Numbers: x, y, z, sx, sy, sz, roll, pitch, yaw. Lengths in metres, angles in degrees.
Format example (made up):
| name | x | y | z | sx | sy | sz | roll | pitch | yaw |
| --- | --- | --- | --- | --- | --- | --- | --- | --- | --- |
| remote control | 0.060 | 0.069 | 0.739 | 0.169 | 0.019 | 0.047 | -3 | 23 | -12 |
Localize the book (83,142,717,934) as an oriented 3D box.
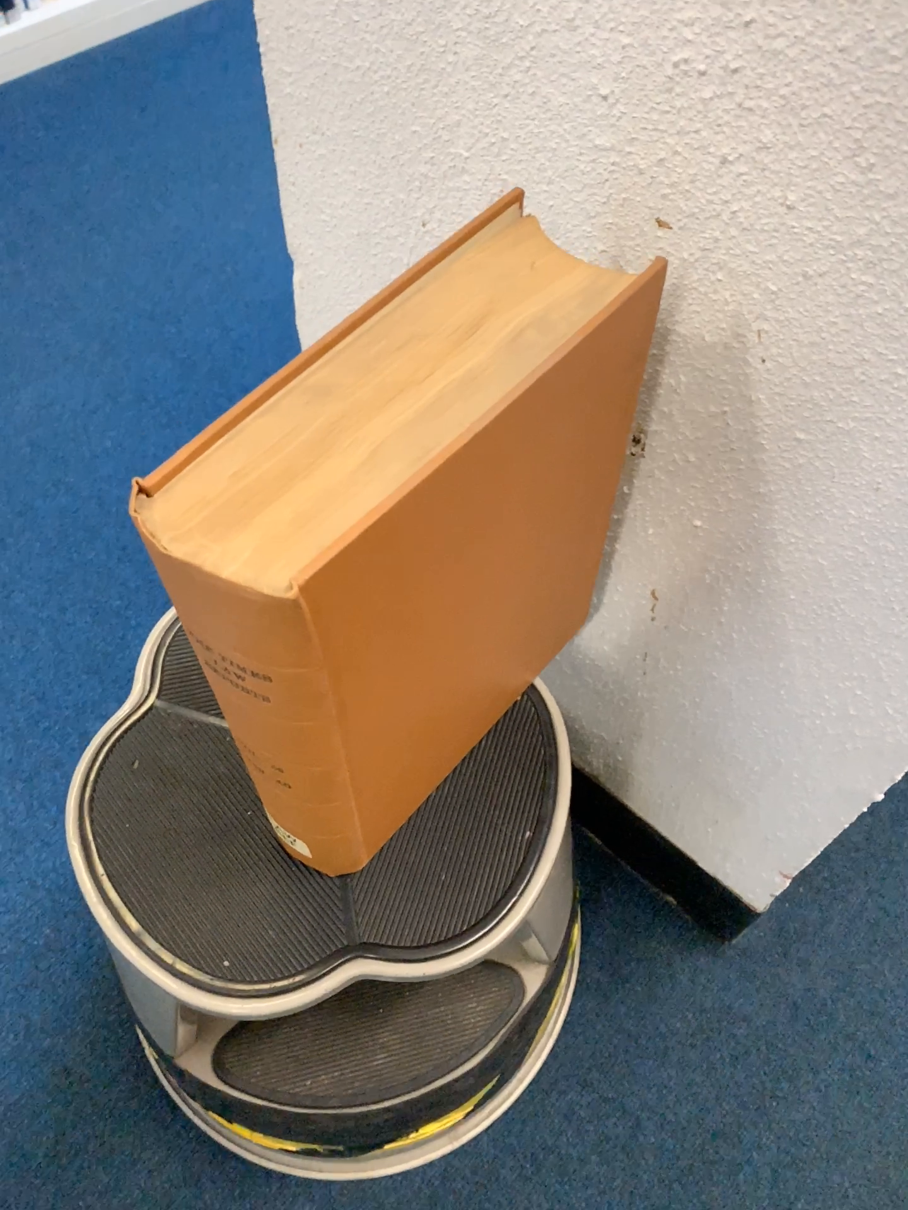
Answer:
| name | x | y | z | sx | sy | sz | roll | pitch | yaw |
| --- | --- | --- | --- | --- | --- | --- | --- | --- | --- |
| book | -0.012 | -0.001 | 0.454 | 0.090 | 0.337 | 0.221 | 35 | 62 | 19 |
